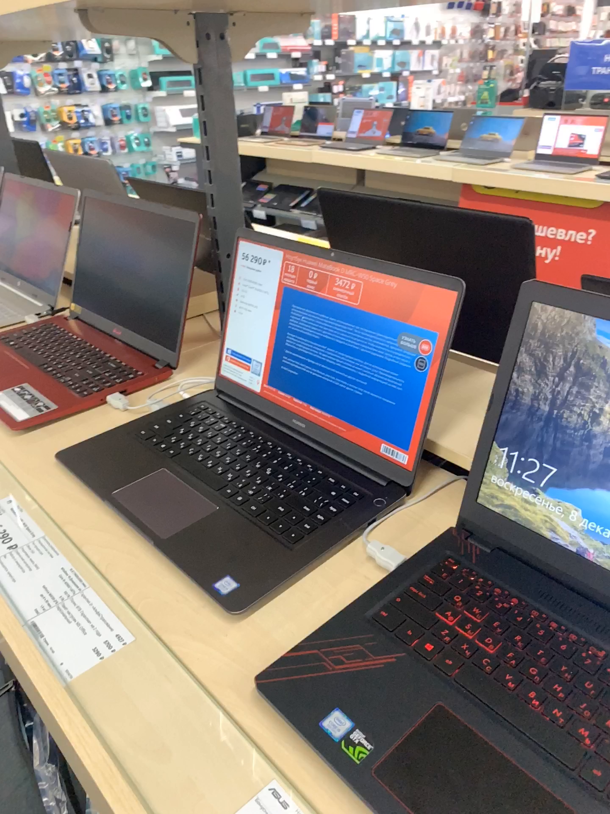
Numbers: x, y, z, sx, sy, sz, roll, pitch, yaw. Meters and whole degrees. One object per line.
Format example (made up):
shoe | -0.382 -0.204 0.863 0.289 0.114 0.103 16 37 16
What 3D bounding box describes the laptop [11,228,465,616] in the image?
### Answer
laptop | -0.073 -0.032 0.671 0.303 0.209 0.349 -26 36 -36
